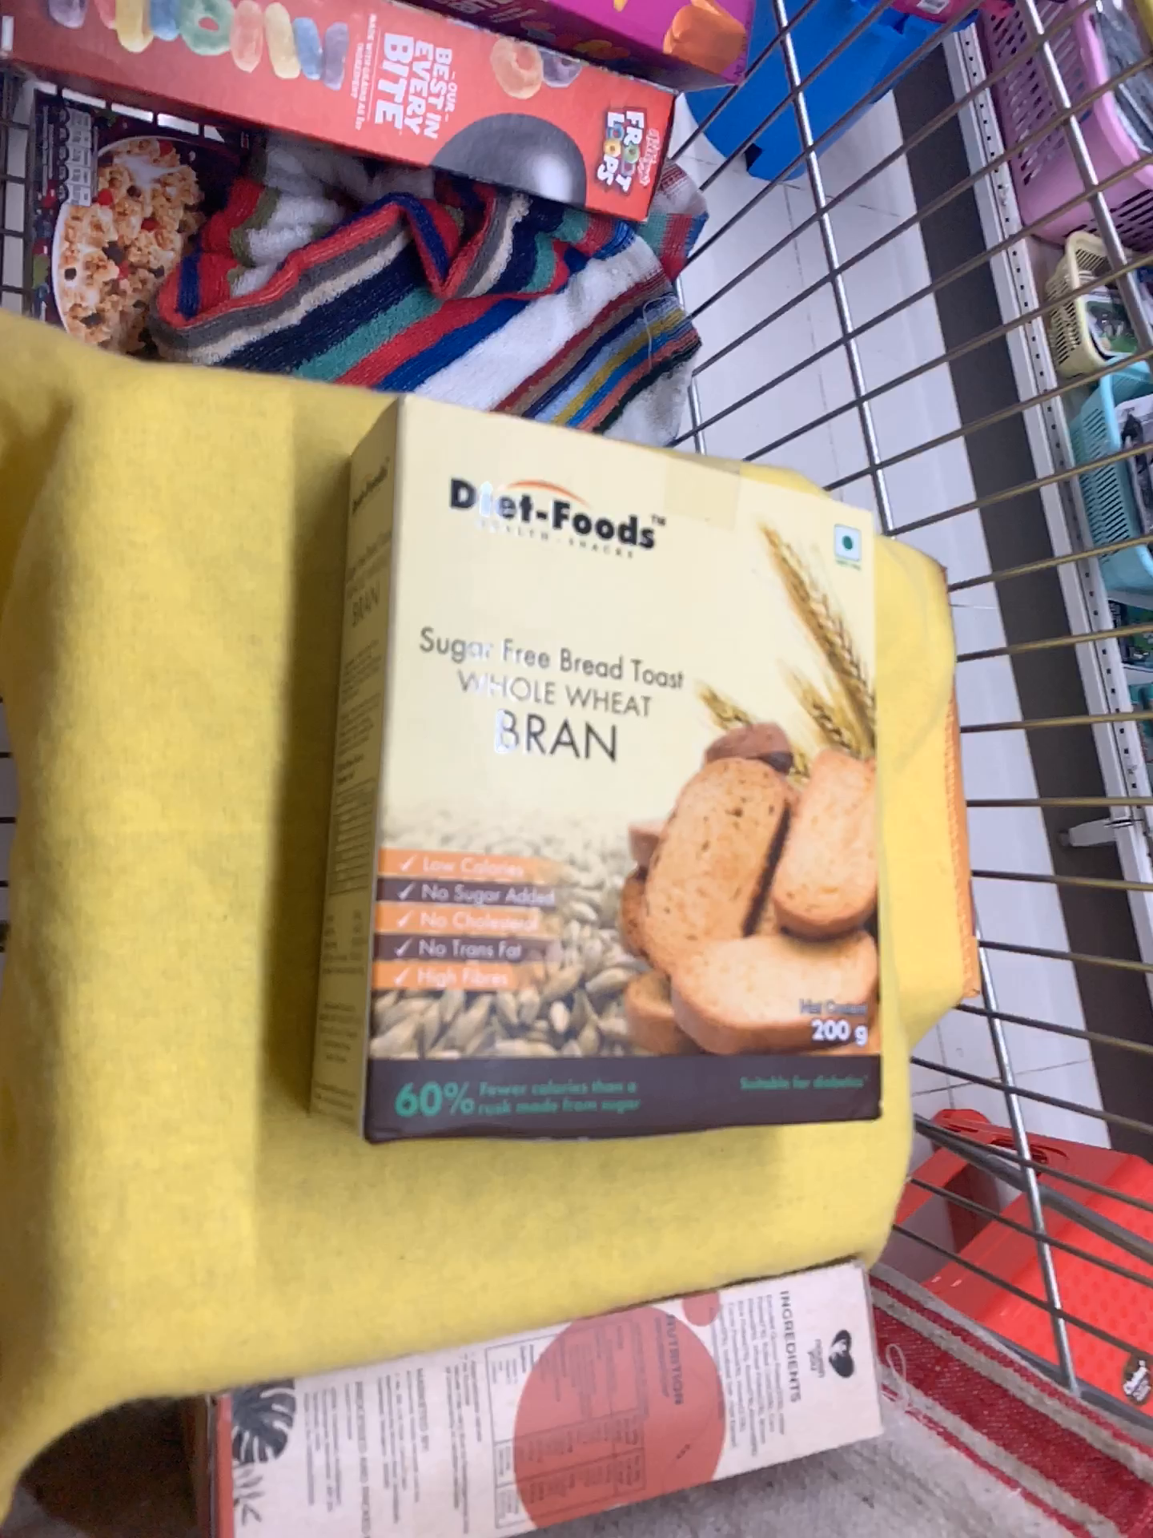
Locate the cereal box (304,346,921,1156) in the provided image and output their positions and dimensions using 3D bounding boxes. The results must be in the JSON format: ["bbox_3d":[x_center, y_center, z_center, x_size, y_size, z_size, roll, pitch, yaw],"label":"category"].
[{"bbox_3d":[0.013,0.002,0.296,0.140,0.050,0.170,6,78,-26],"label":"cereal box"}]
